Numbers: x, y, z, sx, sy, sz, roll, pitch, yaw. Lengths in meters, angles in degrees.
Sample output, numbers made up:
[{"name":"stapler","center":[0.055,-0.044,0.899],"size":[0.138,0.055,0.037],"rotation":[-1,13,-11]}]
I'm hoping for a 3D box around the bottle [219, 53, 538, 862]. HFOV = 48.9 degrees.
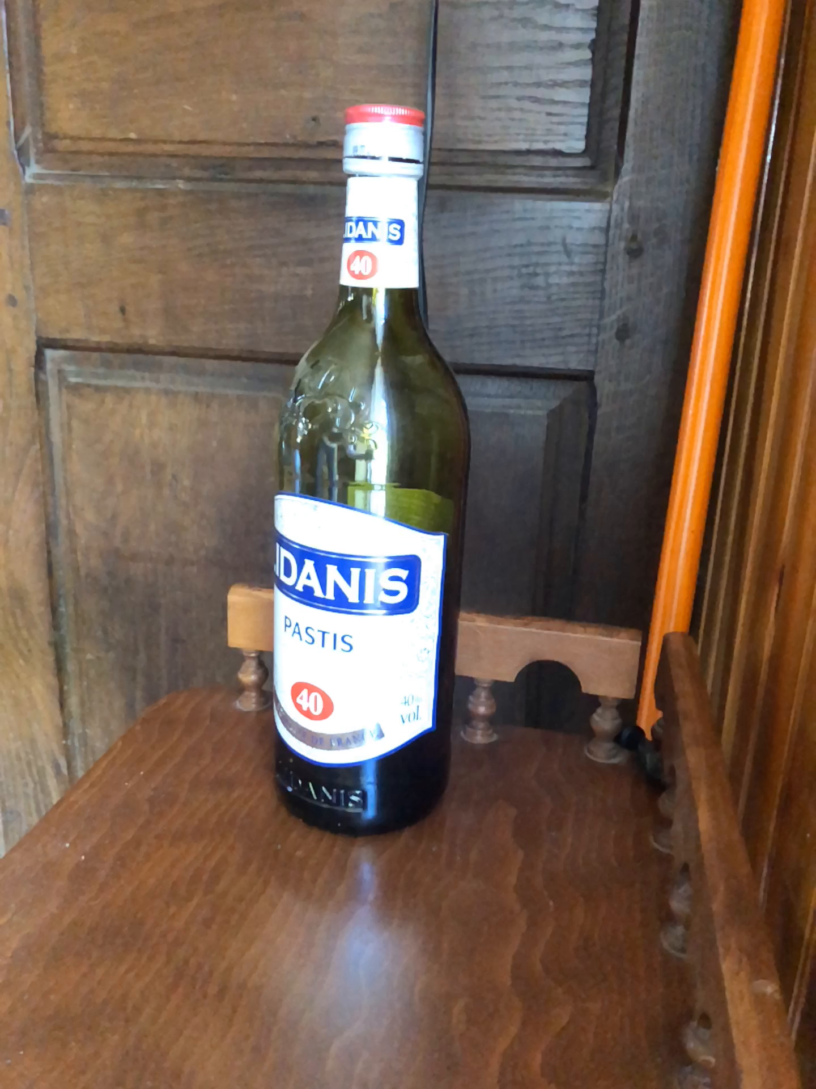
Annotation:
[{"name":"bottle","center":[-0.014,-0.030,0.380],"size":[0.090,0.299,0.080],"rotation":[12,20,28]}]
